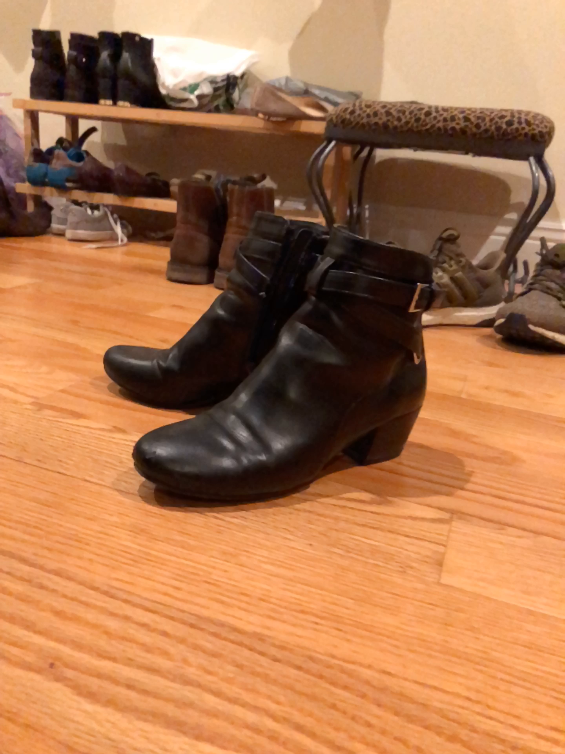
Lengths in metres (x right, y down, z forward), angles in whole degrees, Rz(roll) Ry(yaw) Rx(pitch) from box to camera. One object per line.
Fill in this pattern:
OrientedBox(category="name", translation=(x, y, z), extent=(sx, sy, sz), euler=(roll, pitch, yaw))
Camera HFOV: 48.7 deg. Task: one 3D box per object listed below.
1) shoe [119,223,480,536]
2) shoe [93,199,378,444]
OrientedBox(category="shoe", translation=(0.011, -0.011, 0.442), extent=(0.226, 0.172, 0.090), euler=(-5, 20, -31))
OrientedBox(category="shoe", translation=(-0.045, -0.059, 0.561), extent=(0.226, 0.172, 0.090), euler=(10, 18, 15))
